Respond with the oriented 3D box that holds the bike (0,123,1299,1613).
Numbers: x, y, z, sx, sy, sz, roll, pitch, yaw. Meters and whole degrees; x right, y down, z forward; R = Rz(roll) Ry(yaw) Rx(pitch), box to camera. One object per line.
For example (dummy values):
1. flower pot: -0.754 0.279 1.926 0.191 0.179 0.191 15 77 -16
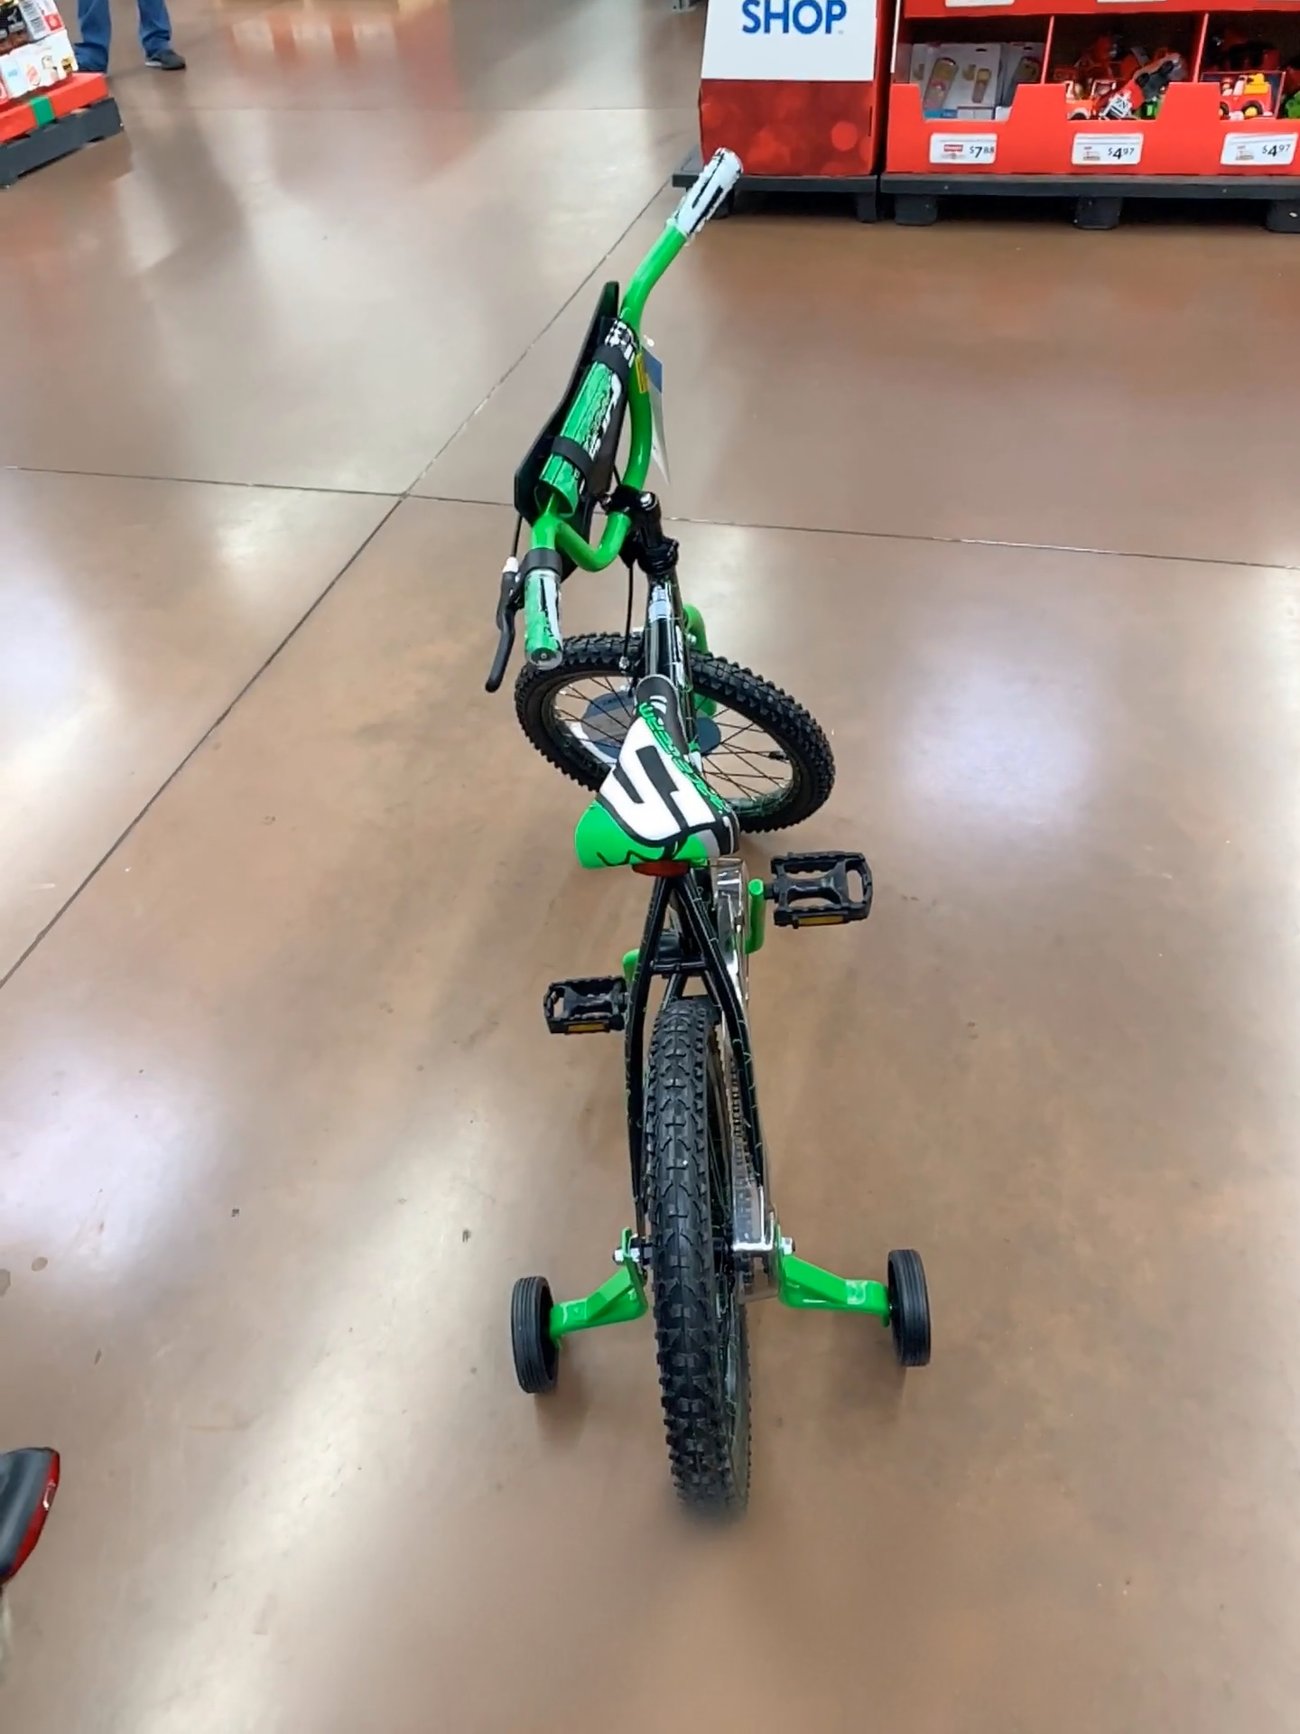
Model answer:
1. bike: -0.071 -0.042 1.260 0.635 0.914 1.056 -10 43 -5
